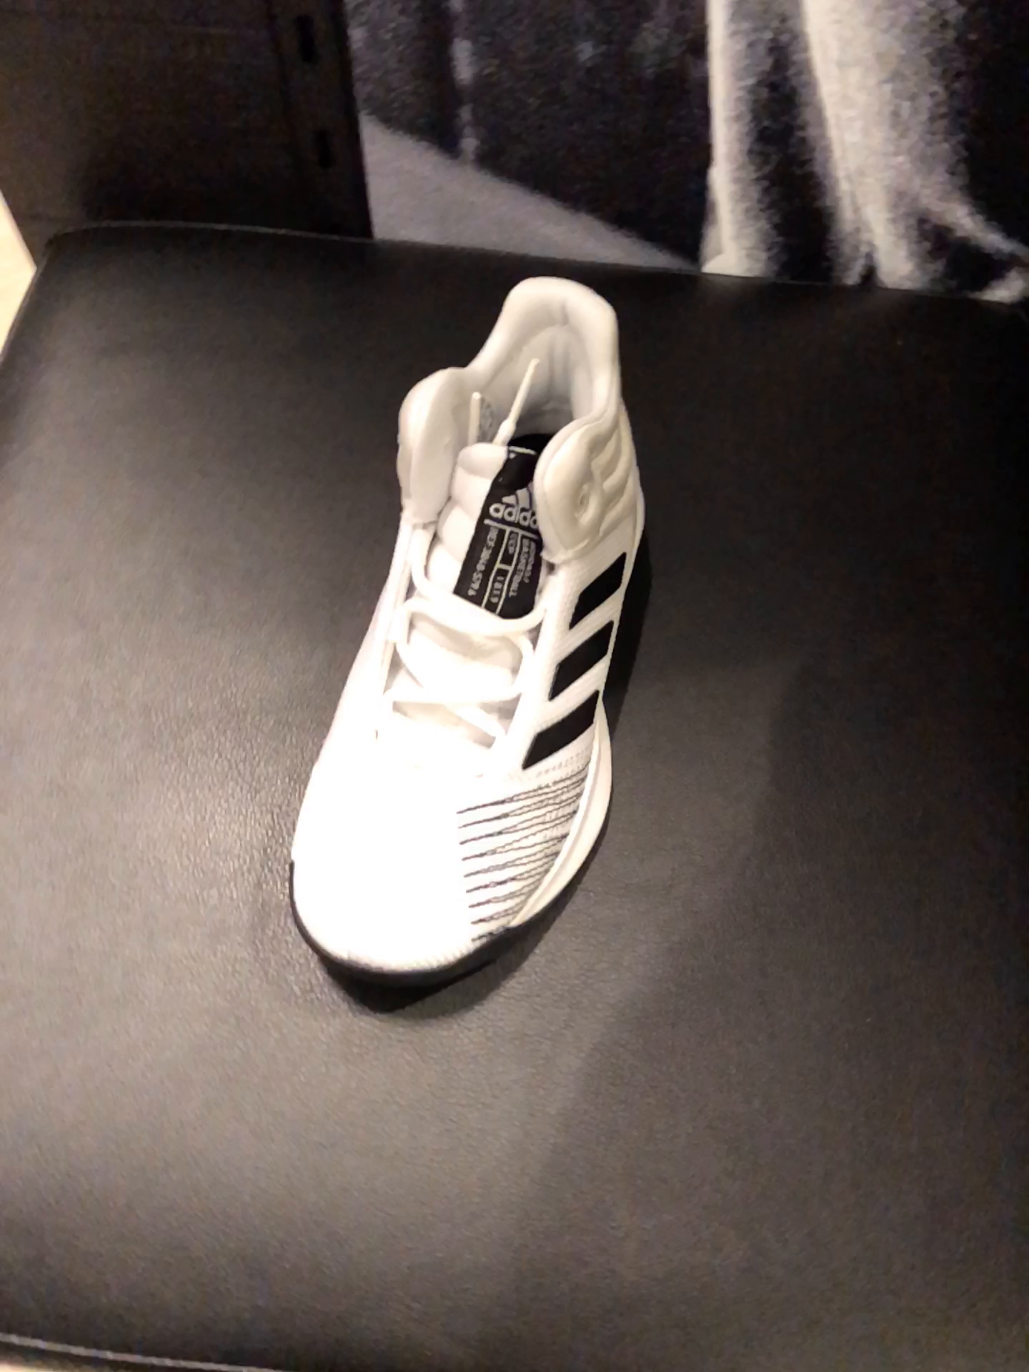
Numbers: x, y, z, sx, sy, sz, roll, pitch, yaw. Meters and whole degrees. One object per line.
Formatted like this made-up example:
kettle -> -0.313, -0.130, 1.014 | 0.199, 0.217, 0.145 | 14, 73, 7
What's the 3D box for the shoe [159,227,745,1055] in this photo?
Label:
shoe -> -0.007, -0.016, 0.362 | 0.100, 0.110, 0.220 | 15, 64, 6
